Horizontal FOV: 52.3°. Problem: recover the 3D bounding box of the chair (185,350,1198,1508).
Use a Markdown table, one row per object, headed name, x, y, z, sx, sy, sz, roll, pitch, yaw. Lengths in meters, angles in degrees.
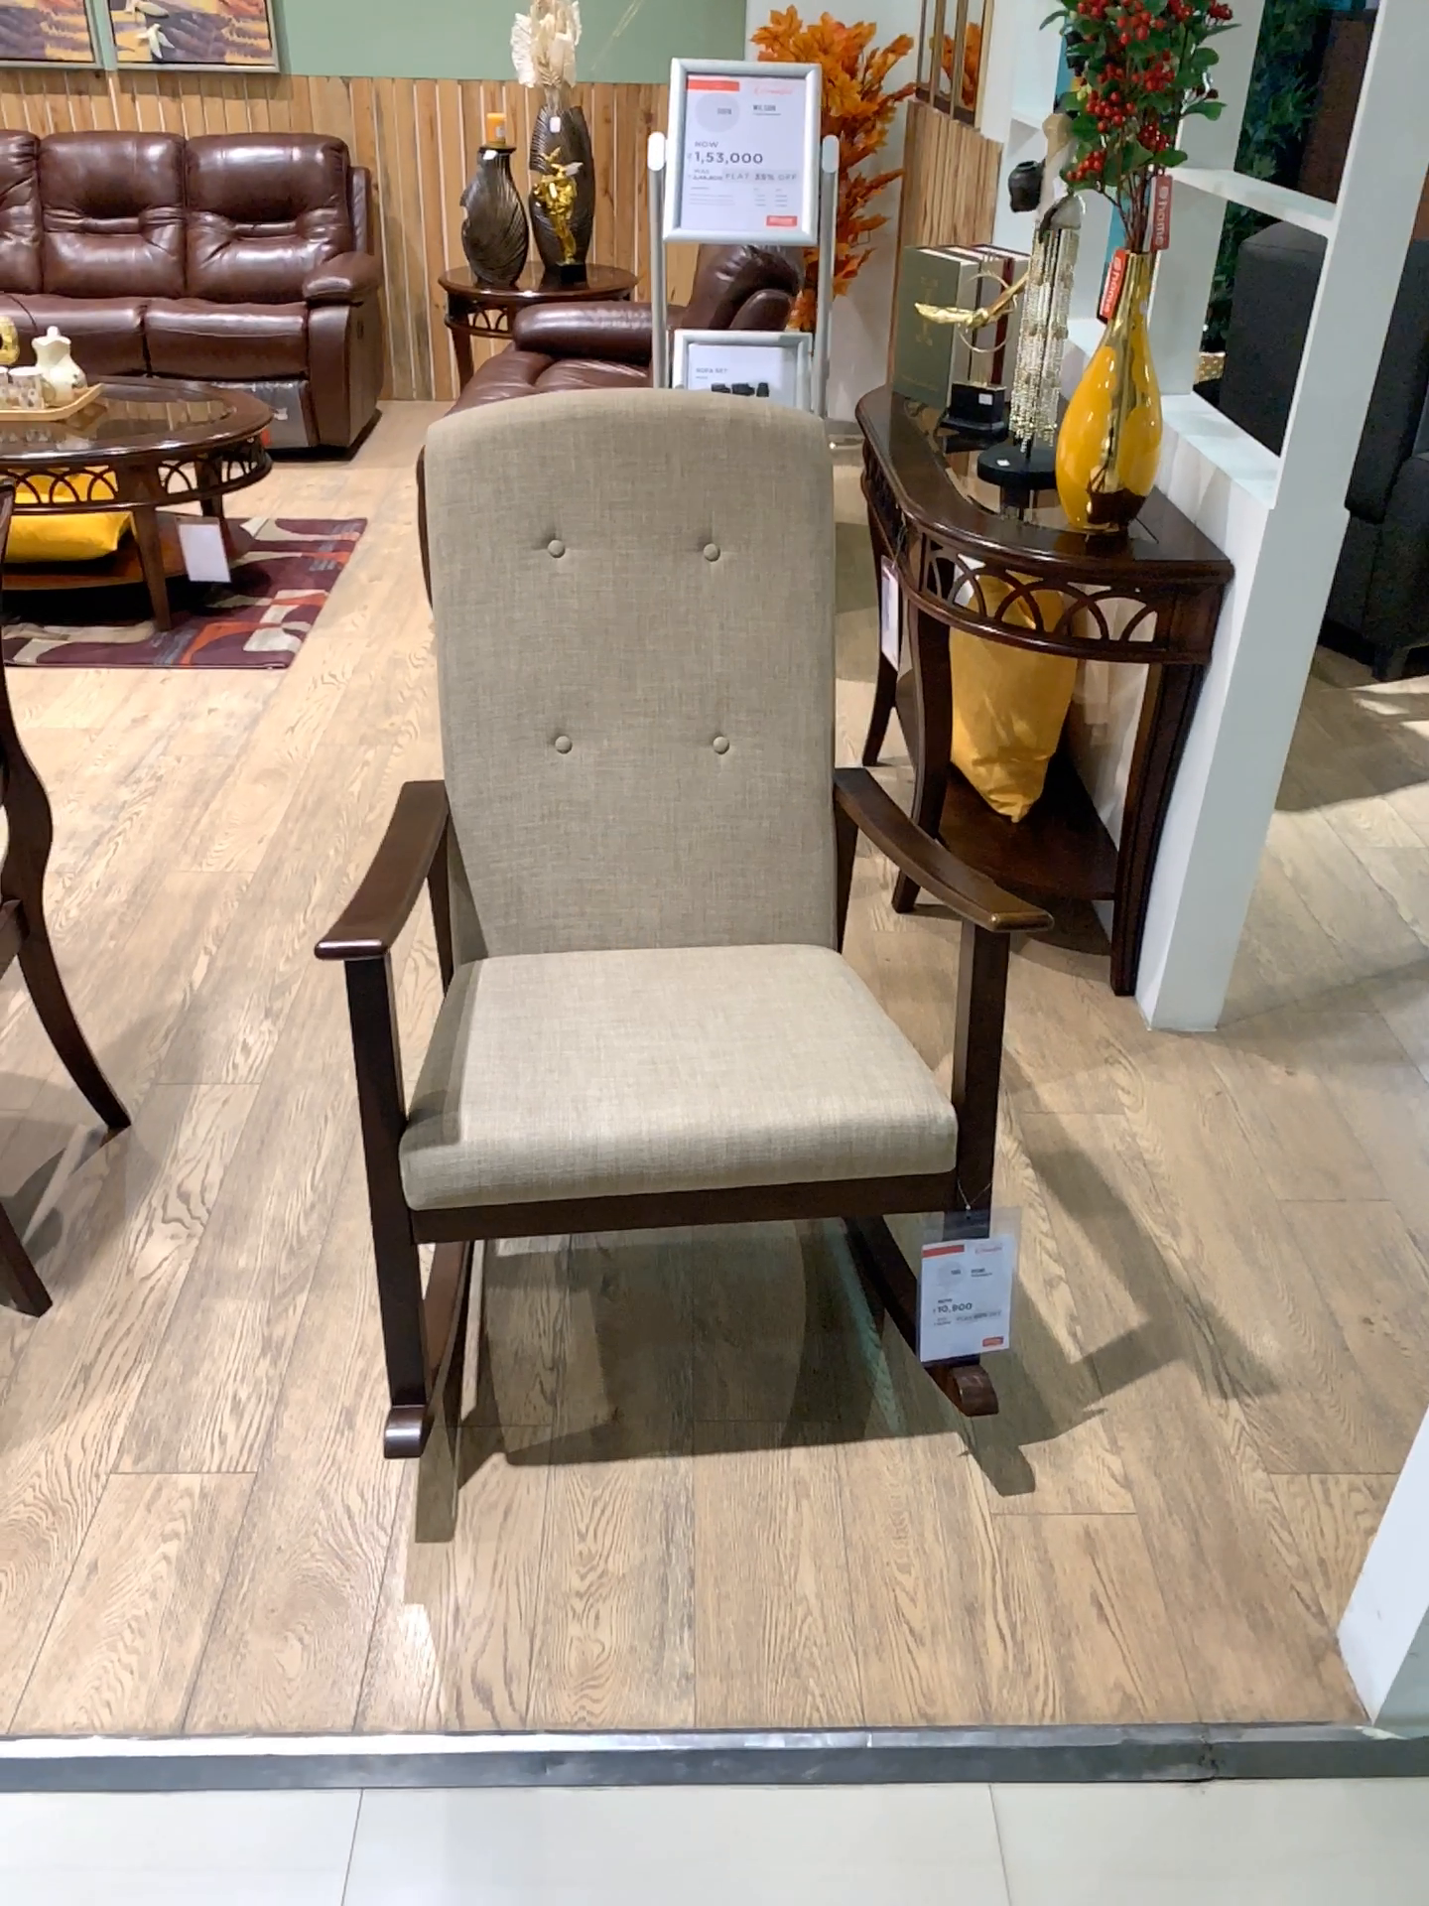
| name | x | y | z | sx | sy | sz | roll | pitch | yaw |
| --- | --- | --- | --- | --- | --- | --- | --- | --- | --- |
| chair | -0.067 | -0.081 | 1.654 | 0.730 | 0.976 | 0.844 | -3 | 33 | -7 |
